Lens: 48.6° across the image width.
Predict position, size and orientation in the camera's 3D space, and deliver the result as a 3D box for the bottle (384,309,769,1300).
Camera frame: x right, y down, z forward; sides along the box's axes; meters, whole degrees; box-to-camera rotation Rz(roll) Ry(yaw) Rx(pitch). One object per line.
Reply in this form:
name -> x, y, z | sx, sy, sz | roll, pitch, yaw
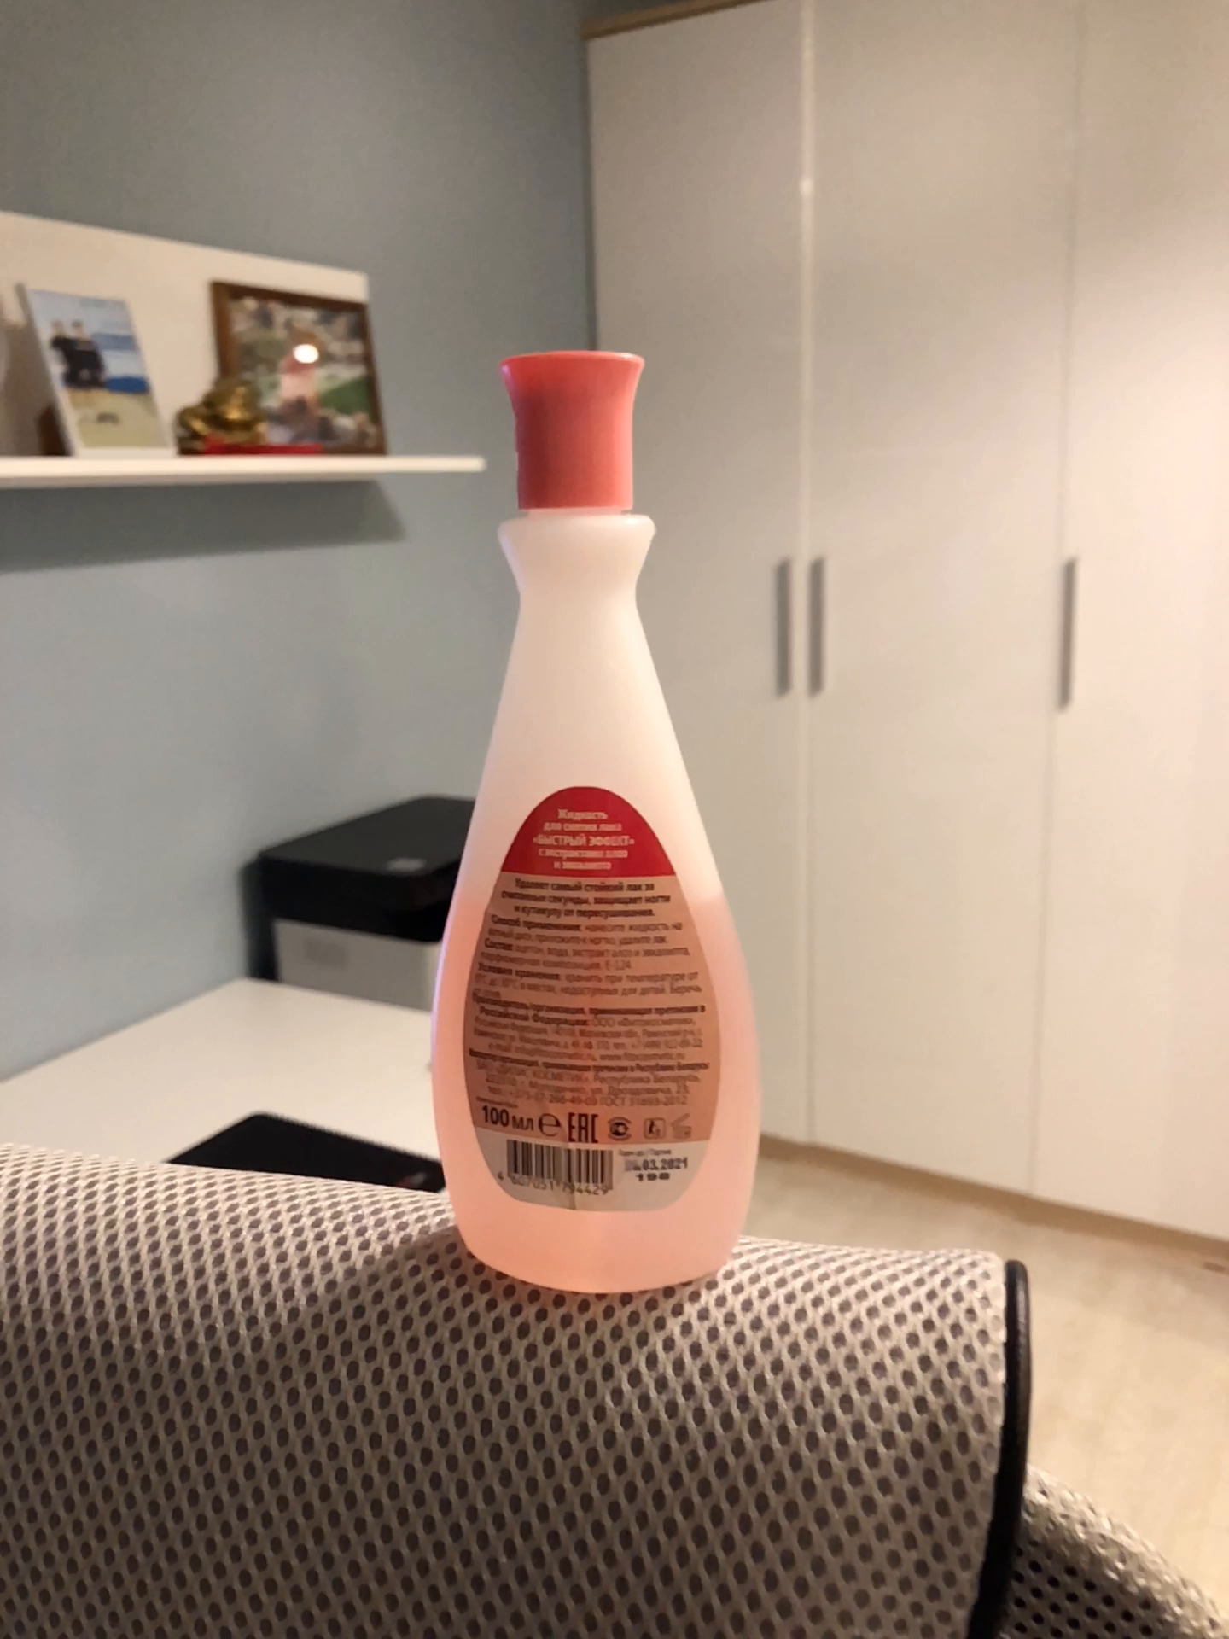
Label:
bottle -> -0.002, -0.001, 0.234 | 0.056, 0.157, 0.039 | 0, 13, 6
